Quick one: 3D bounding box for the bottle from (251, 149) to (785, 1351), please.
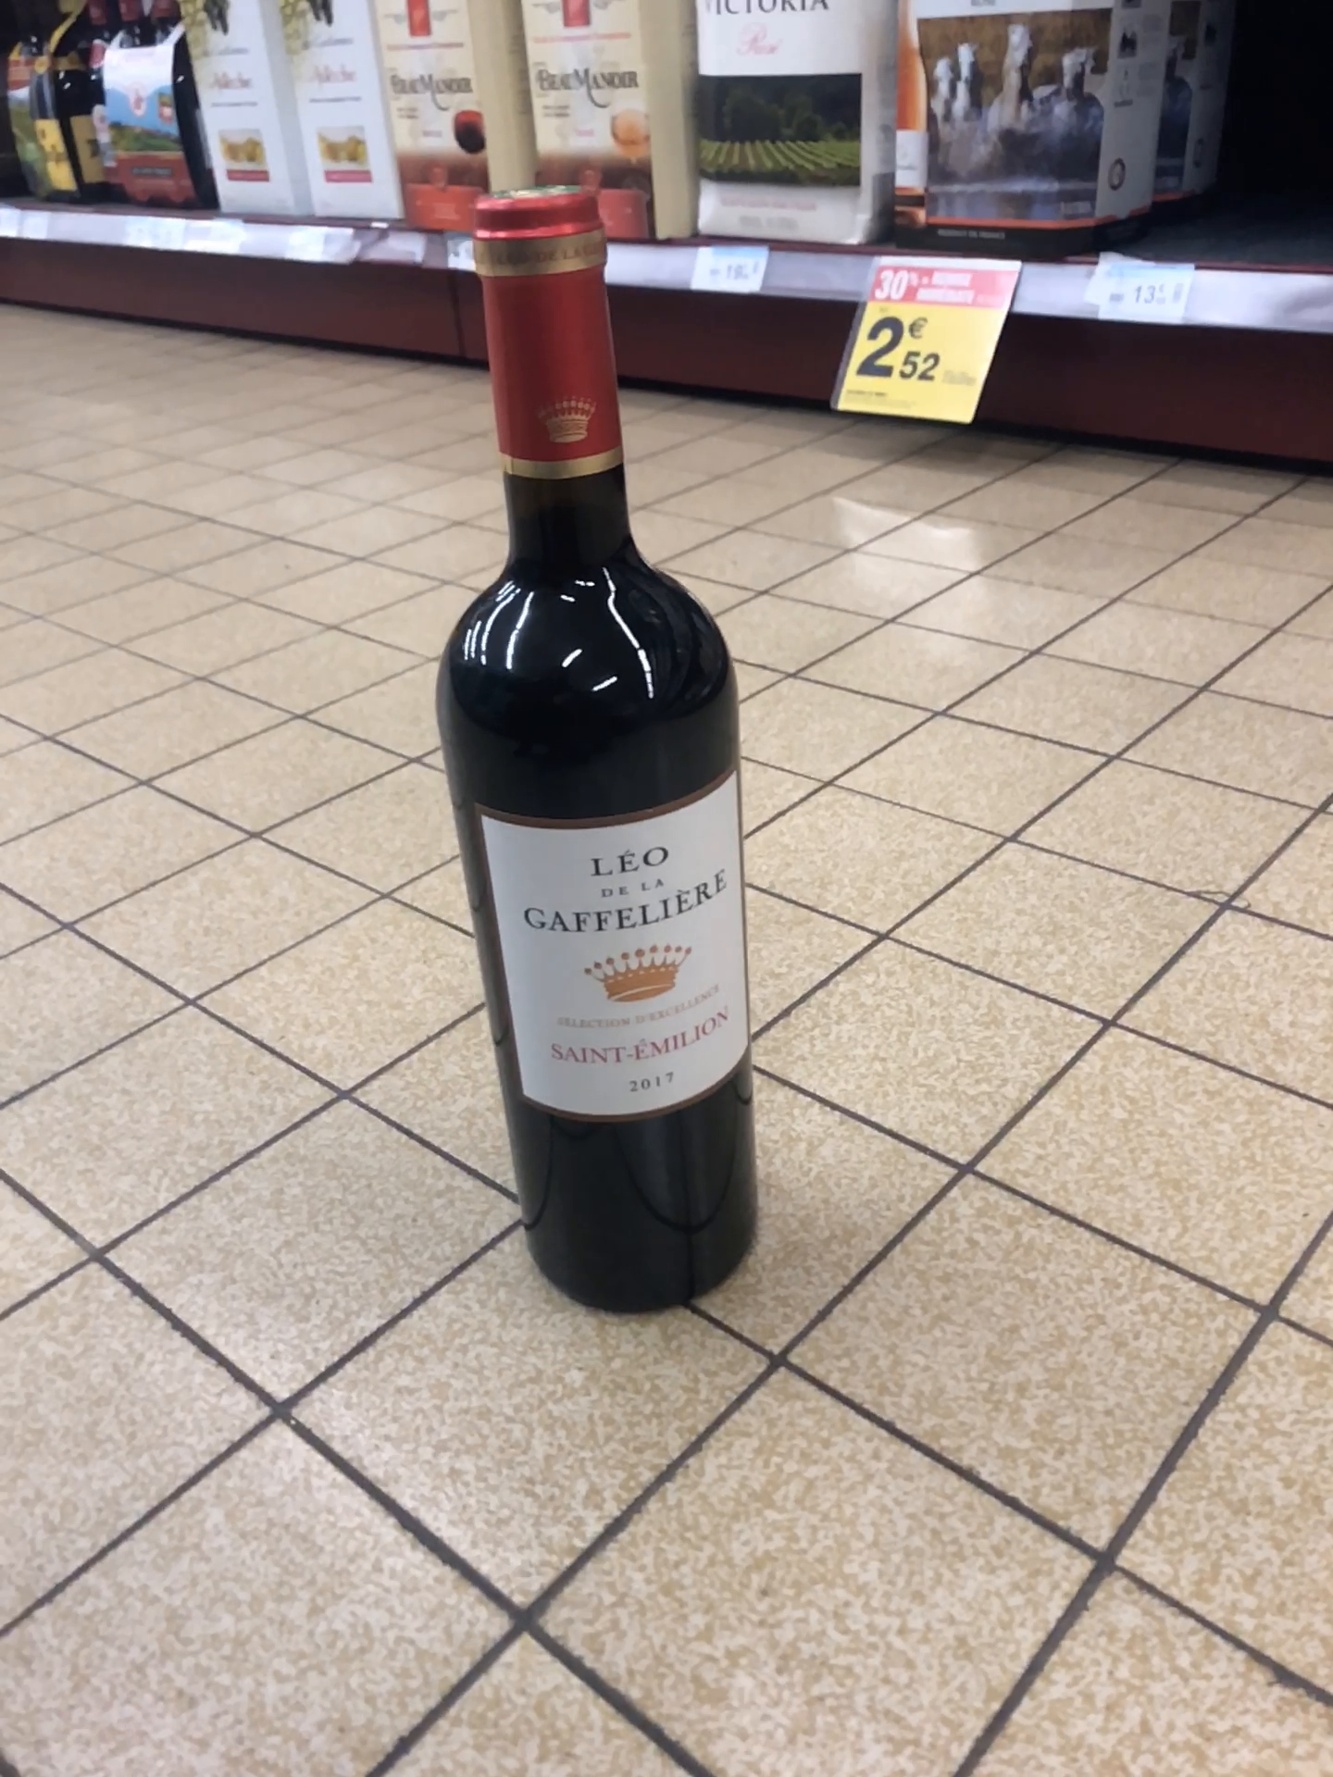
[{"bbox_3d":[-0.025,-0.023,0.375,0.090,0.287,0.091,-3,30,2],"label":"bottle"}]
